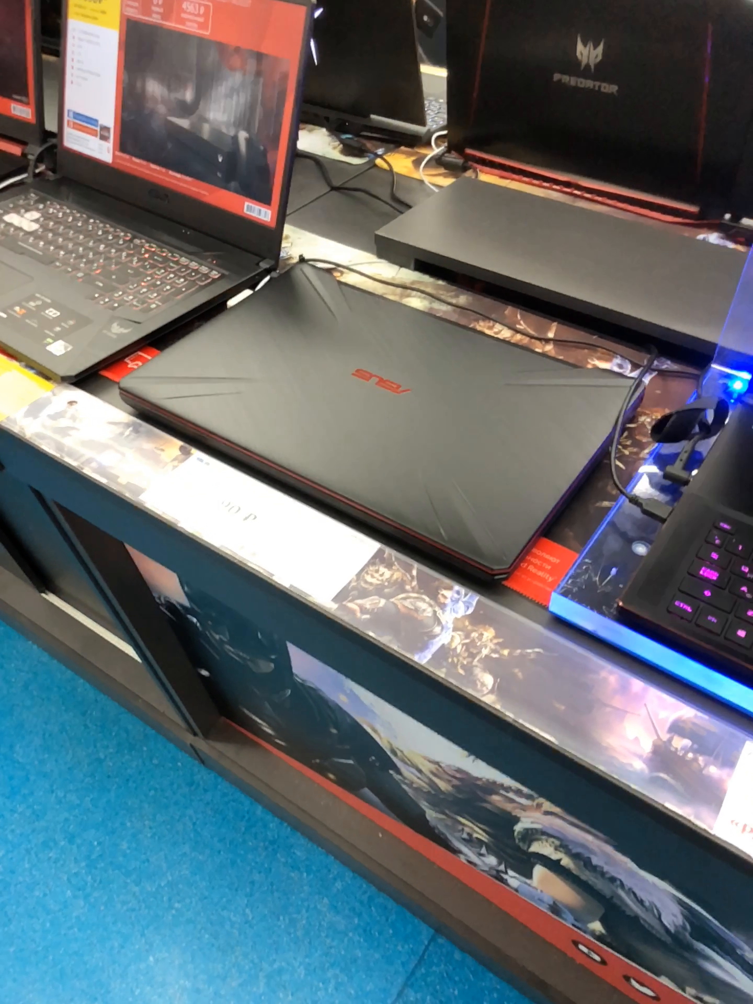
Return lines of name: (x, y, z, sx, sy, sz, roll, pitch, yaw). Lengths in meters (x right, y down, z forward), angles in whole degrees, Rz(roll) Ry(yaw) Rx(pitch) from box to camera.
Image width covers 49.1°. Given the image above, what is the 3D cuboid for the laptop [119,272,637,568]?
laptop: (0.000, -0.101, 0.731, 0.389, 0.002, 0.253, 25, 48, 25)
